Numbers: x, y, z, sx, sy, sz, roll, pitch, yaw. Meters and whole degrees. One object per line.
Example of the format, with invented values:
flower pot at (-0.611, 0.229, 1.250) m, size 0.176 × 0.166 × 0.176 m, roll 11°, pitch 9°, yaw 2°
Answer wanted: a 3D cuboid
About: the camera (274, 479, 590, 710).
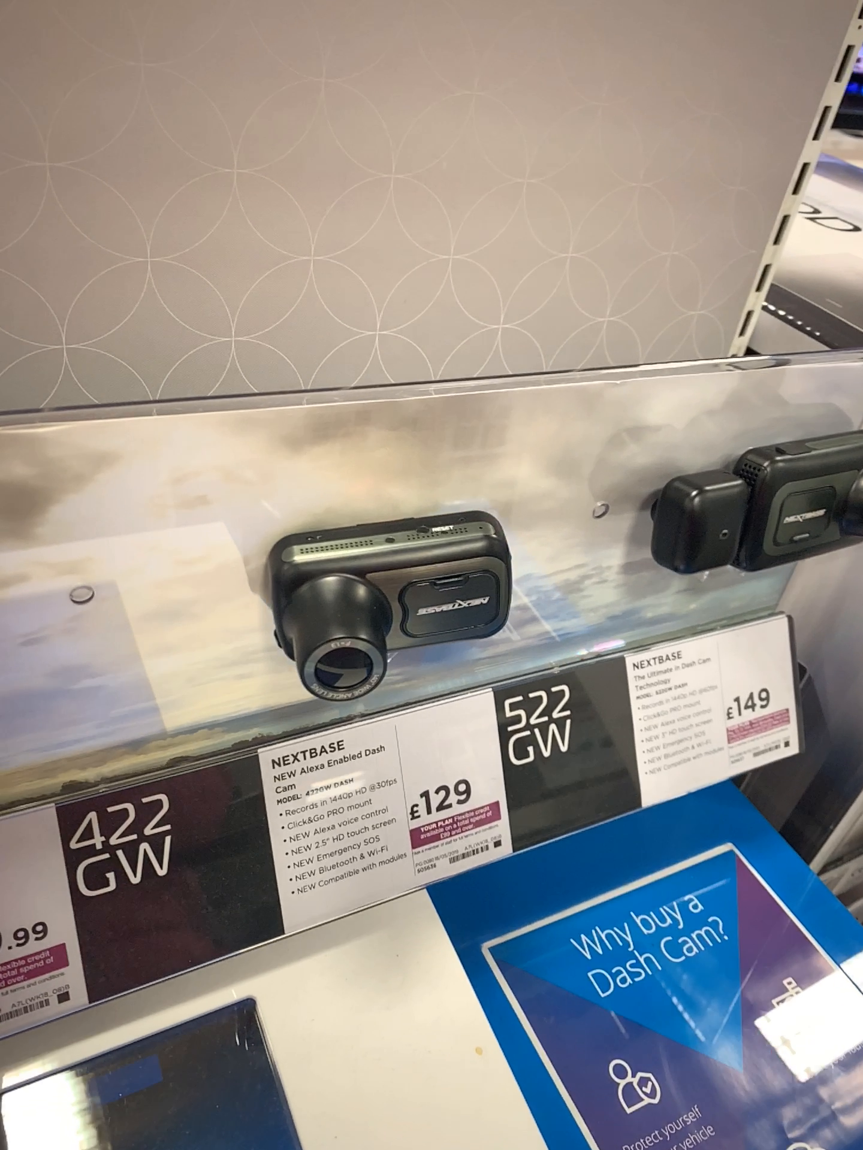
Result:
camera at (-0.002, 0.004, 0.285) m, size 0.090 × 0.040 × 0.050 m, roll -8°, pitch 35°, yaw -7°
